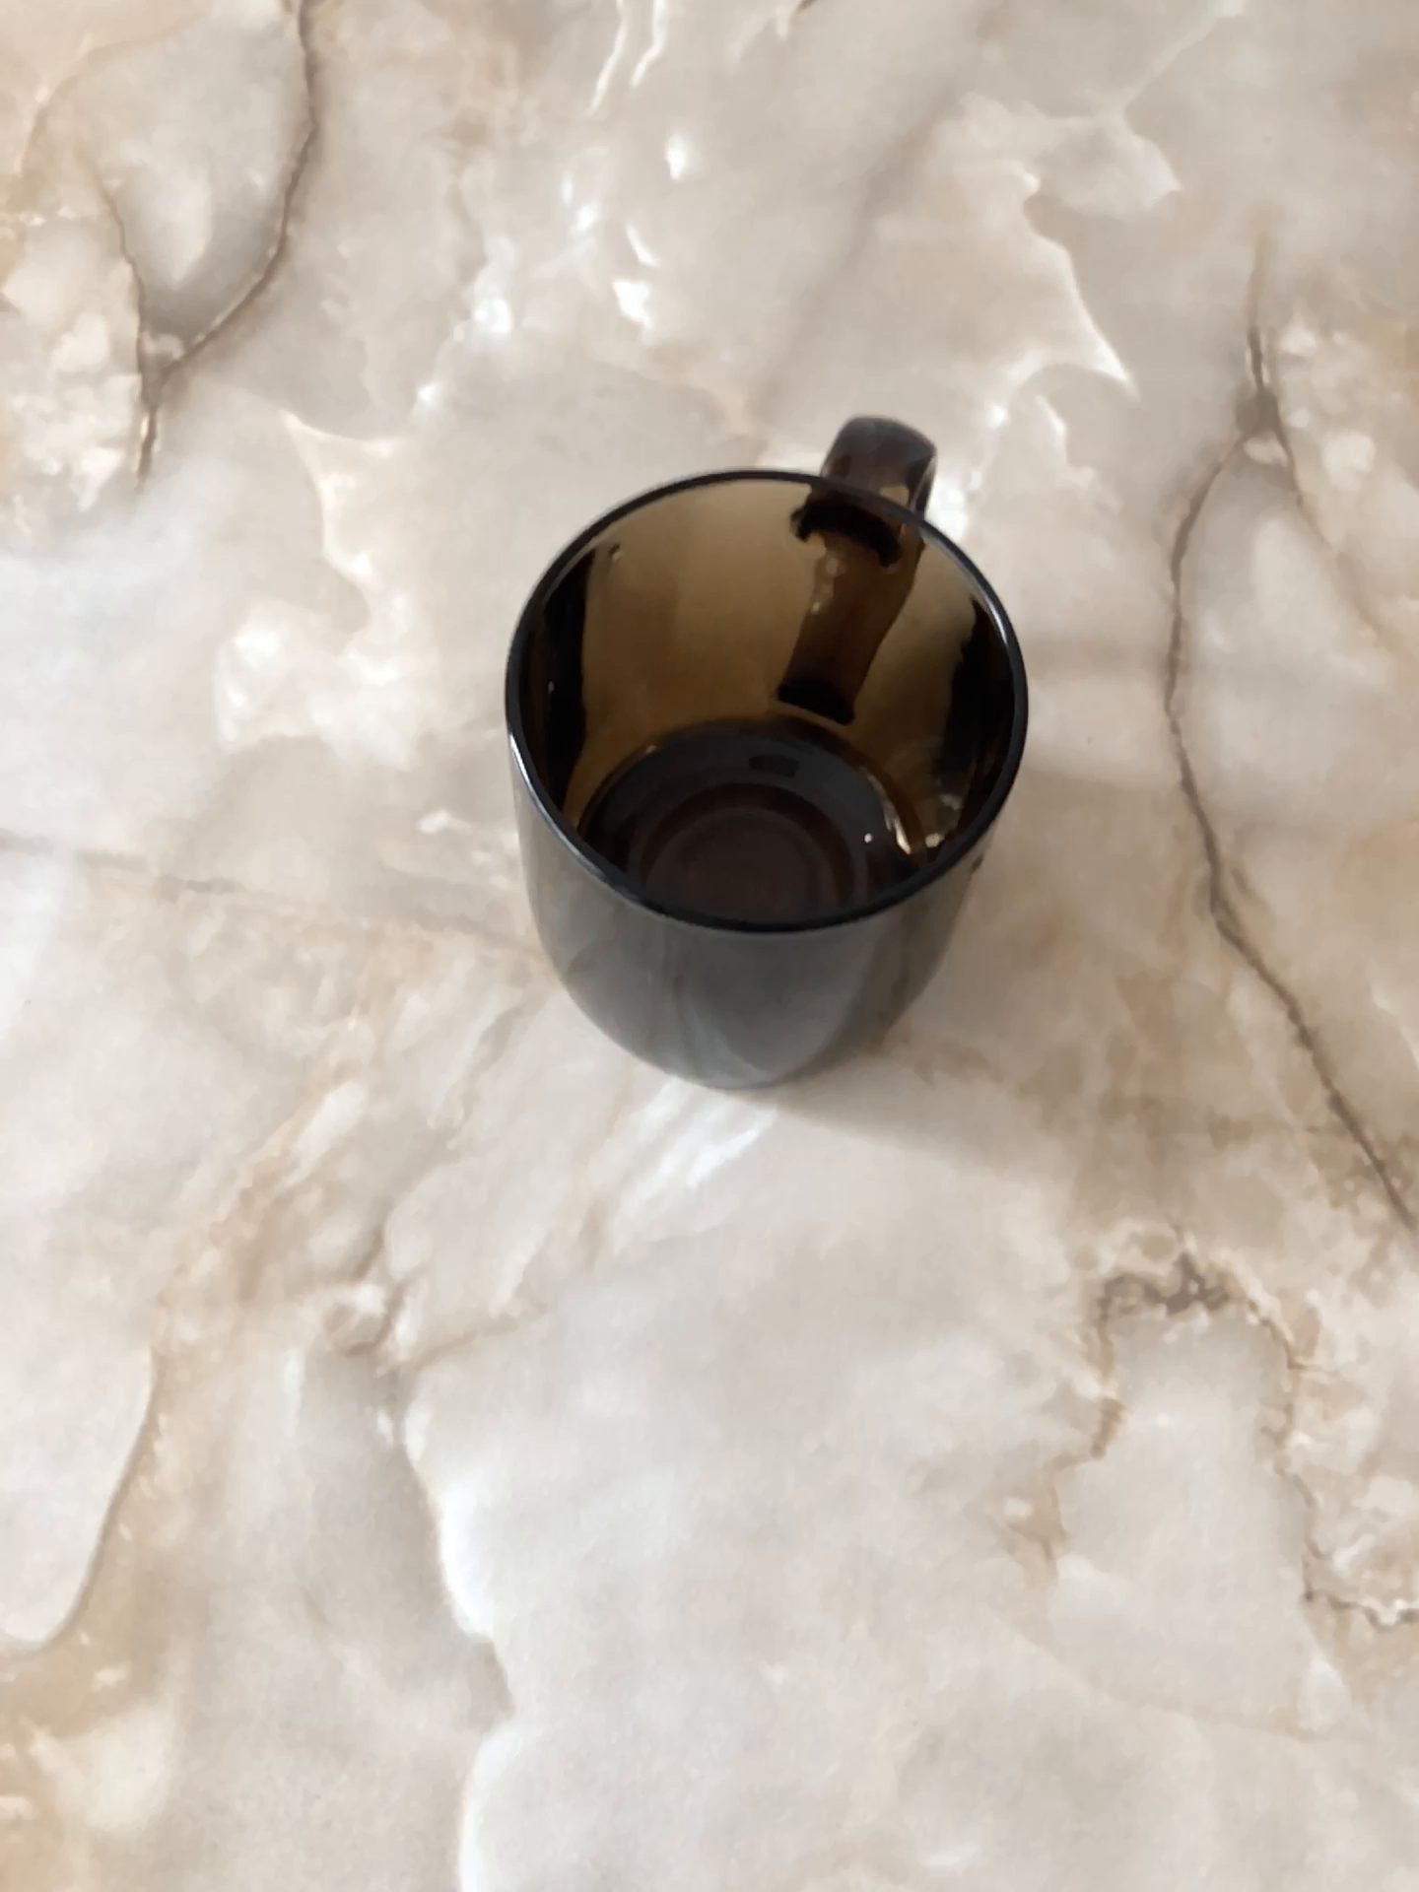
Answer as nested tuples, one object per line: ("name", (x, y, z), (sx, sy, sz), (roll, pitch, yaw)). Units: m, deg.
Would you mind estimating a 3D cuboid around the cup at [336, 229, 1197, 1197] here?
("cup", (0.011, -0.037, 0.286), (0.091, 0.090, 0.123), (25, 72, 7))
